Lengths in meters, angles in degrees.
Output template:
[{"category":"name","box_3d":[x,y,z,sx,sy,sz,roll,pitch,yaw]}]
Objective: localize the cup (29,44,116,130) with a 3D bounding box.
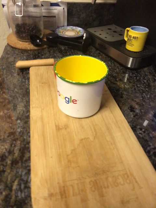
[{"category":"cup","box_3d":[-0.014,-0.042,0.338,0.101,0.089,0.130,-27,50,-29]}]
